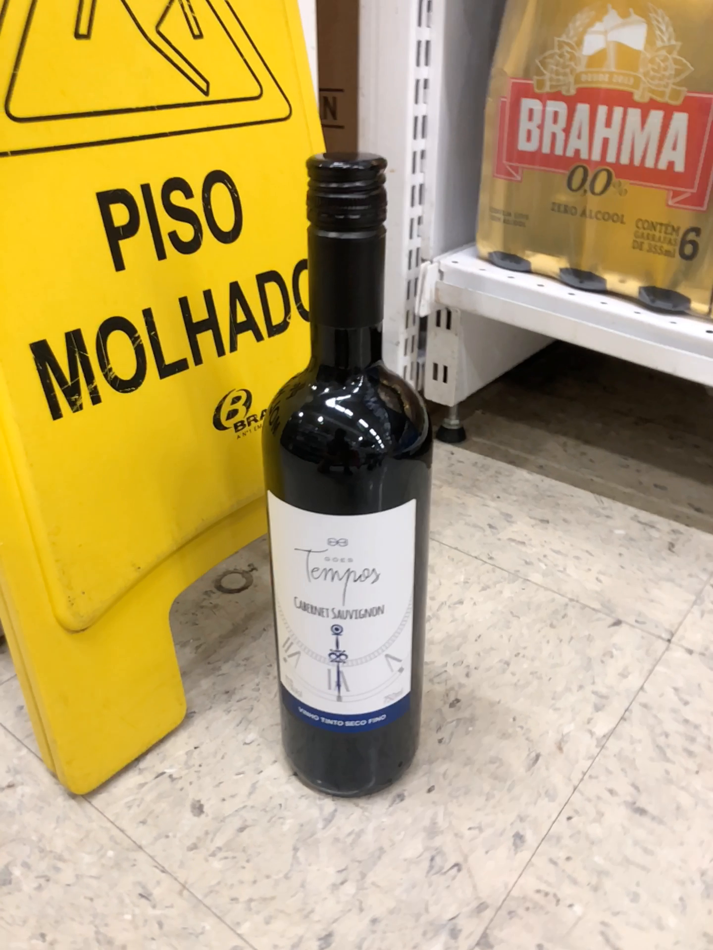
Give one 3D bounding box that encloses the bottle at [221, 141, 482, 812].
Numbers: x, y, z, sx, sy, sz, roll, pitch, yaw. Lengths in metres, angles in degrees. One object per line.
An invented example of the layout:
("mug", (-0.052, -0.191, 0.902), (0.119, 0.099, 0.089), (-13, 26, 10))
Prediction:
("bottle", (0.002, 0.016, 0.341), (0.080, 0.288, 0.071), (4, 30, 7))
